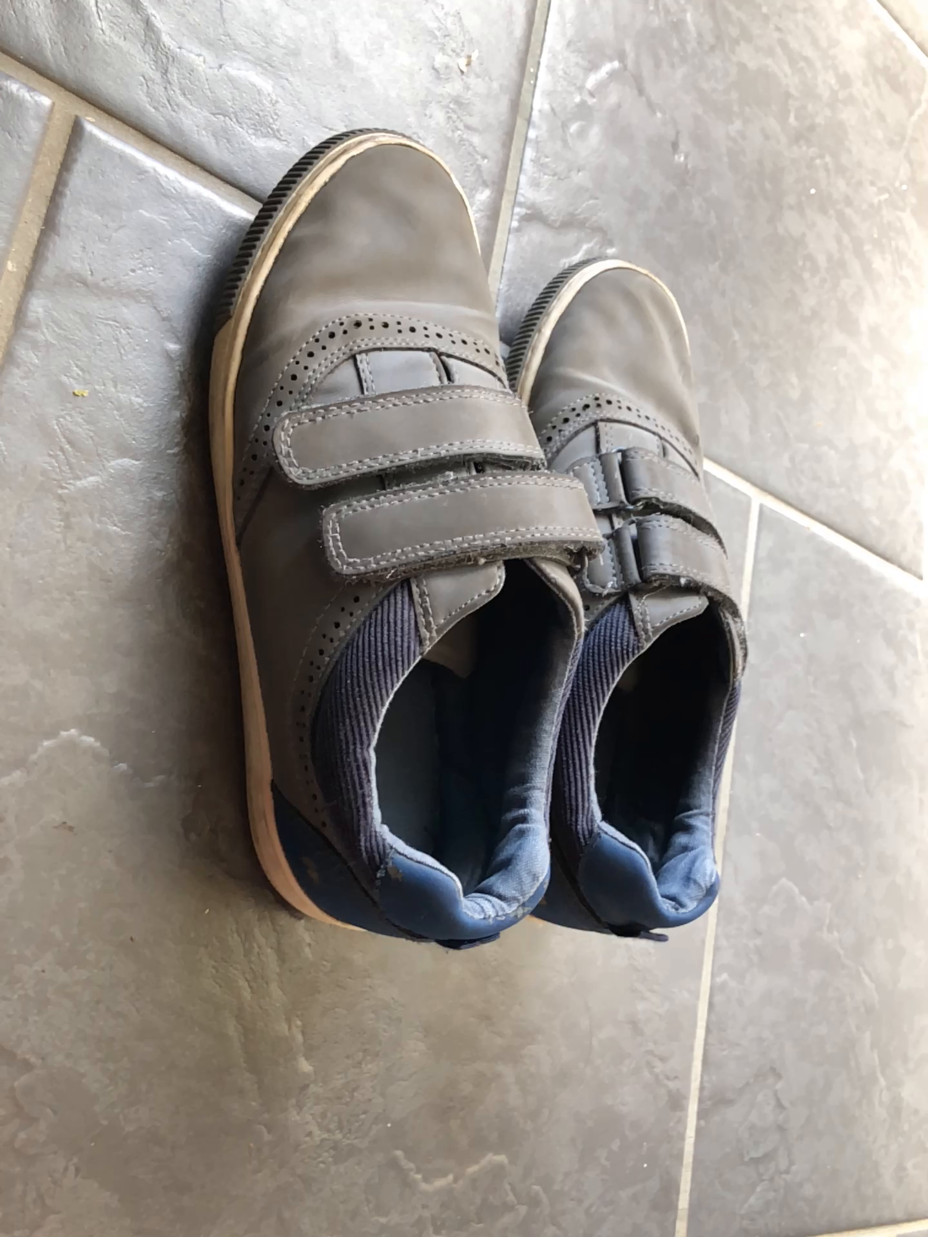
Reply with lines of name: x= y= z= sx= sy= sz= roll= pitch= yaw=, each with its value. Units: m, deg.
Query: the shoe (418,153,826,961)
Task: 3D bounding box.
shoe: x=0.062 y=-0.016 z=0.367 sx=0.100 sy=0.070 sz=0.250 roll=17 pitch=75 yaw=-36

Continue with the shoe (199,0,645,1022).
shoe: x=-0.013 y=-0.032 z=0.294 sx=0.100 sy=0.070 sz=0.250 roll=3 pitch=83 yaw=-38
